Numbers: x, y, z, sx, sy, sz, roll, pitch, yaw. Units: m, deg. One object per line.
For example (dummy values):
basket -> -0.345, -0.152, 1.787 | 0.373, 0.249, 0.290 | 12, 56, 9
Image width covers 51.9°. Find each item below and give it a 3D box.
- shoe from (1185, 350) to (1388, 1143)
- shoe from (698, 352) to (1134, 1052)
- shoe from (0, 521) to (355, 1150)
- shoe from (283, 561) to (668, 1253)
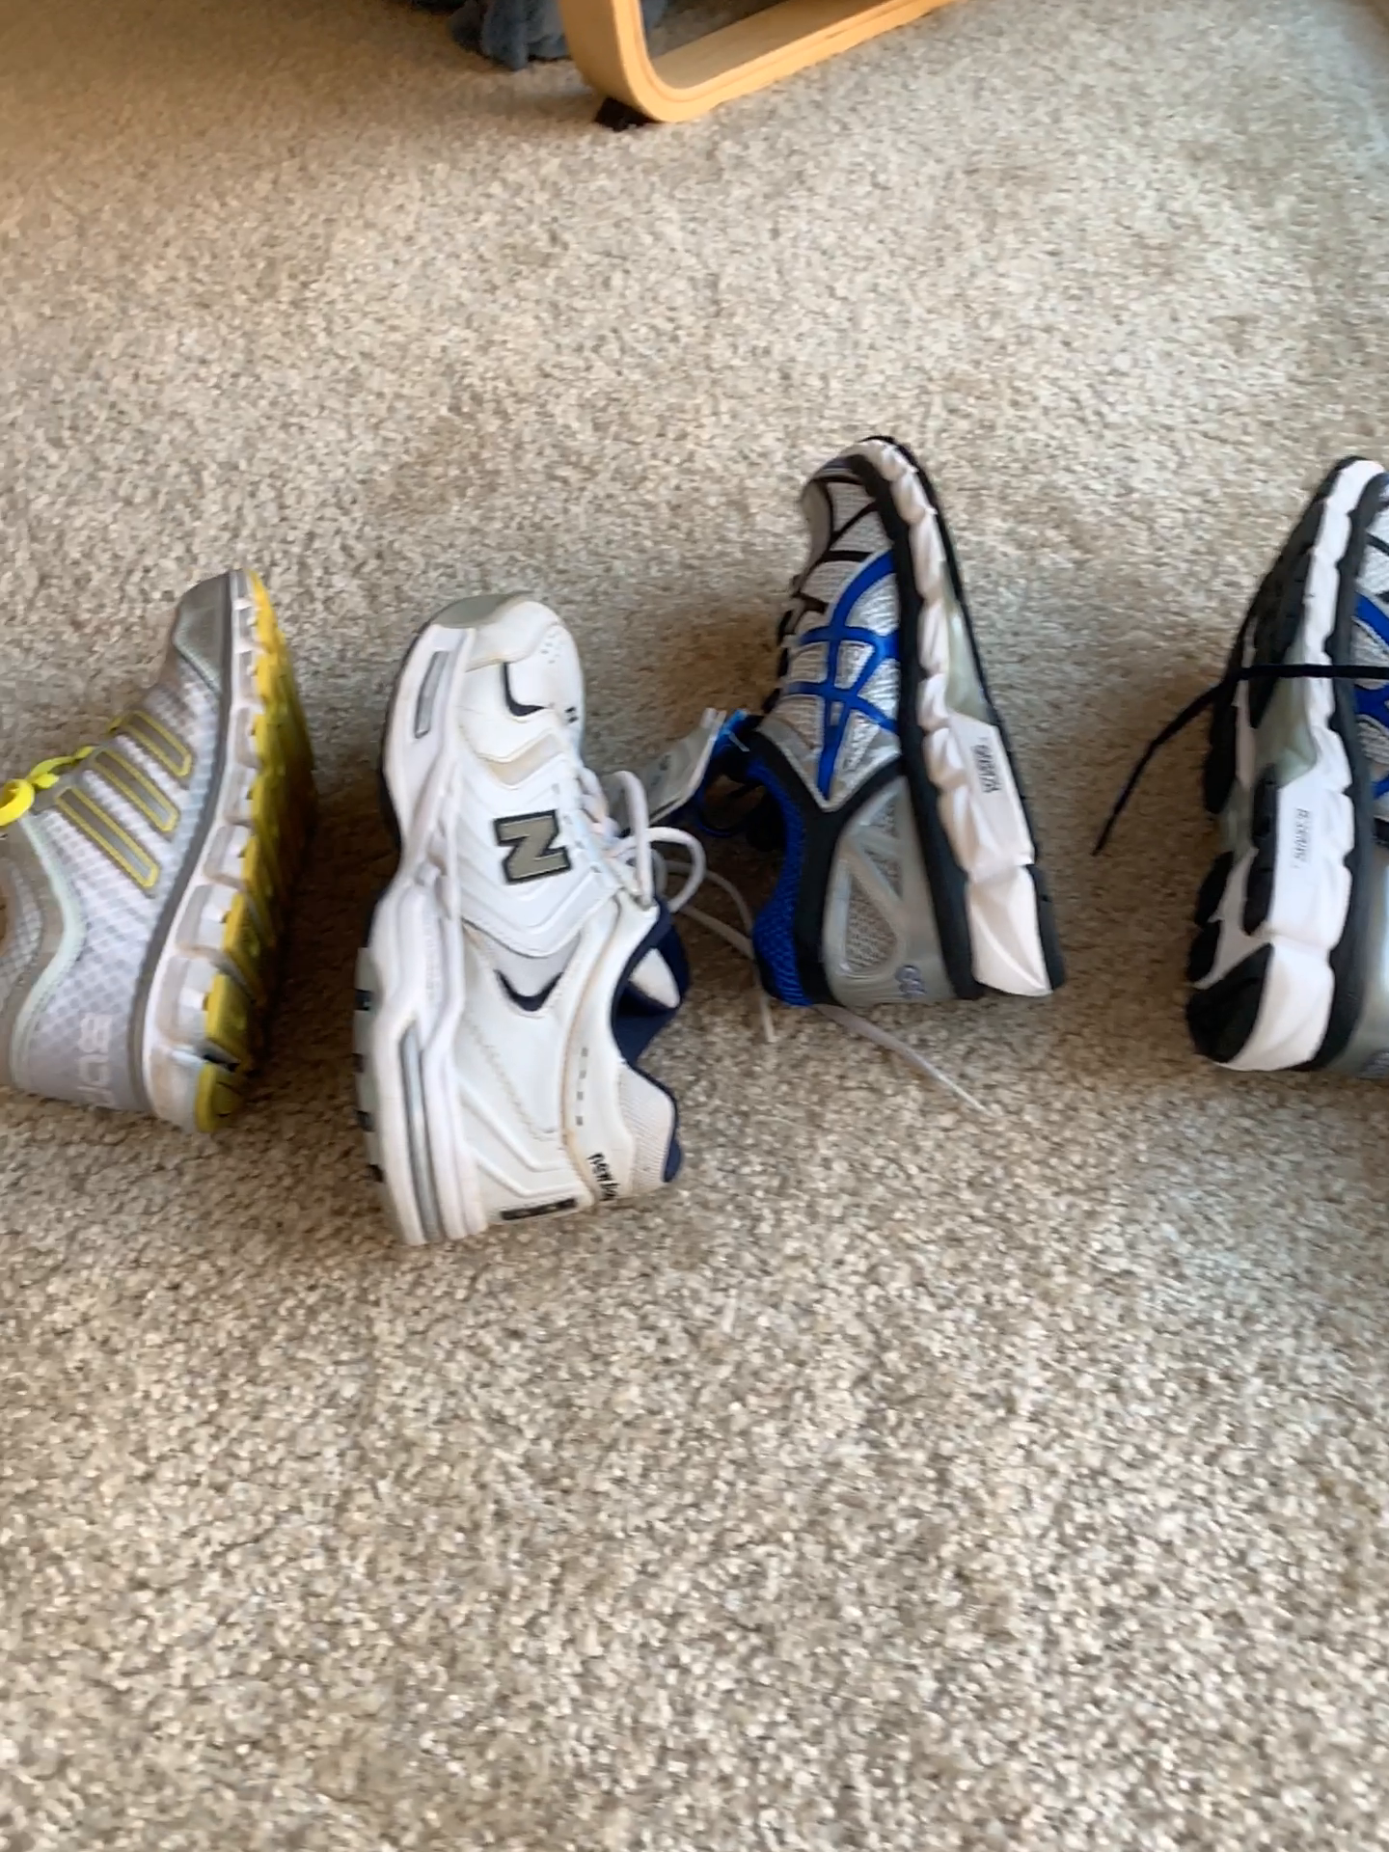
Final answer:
shoe -> 0.264, -0.078, 0.527 | 0.120, 0.119, 0.271 | 12, 52, 7
shoe -> 0.072, -0.096, 0.554 | 0.130, 0.070, 0.281 | -3, 59, 2
shoe -> -0.217, -0.042, 0.588 | 0.110, 0.119, 0.231 | -3, 53, -1
shoe -> -0.065, -0.010, 0.487 | 0.100, 0.119, 0.201 | -3, 53, -2
